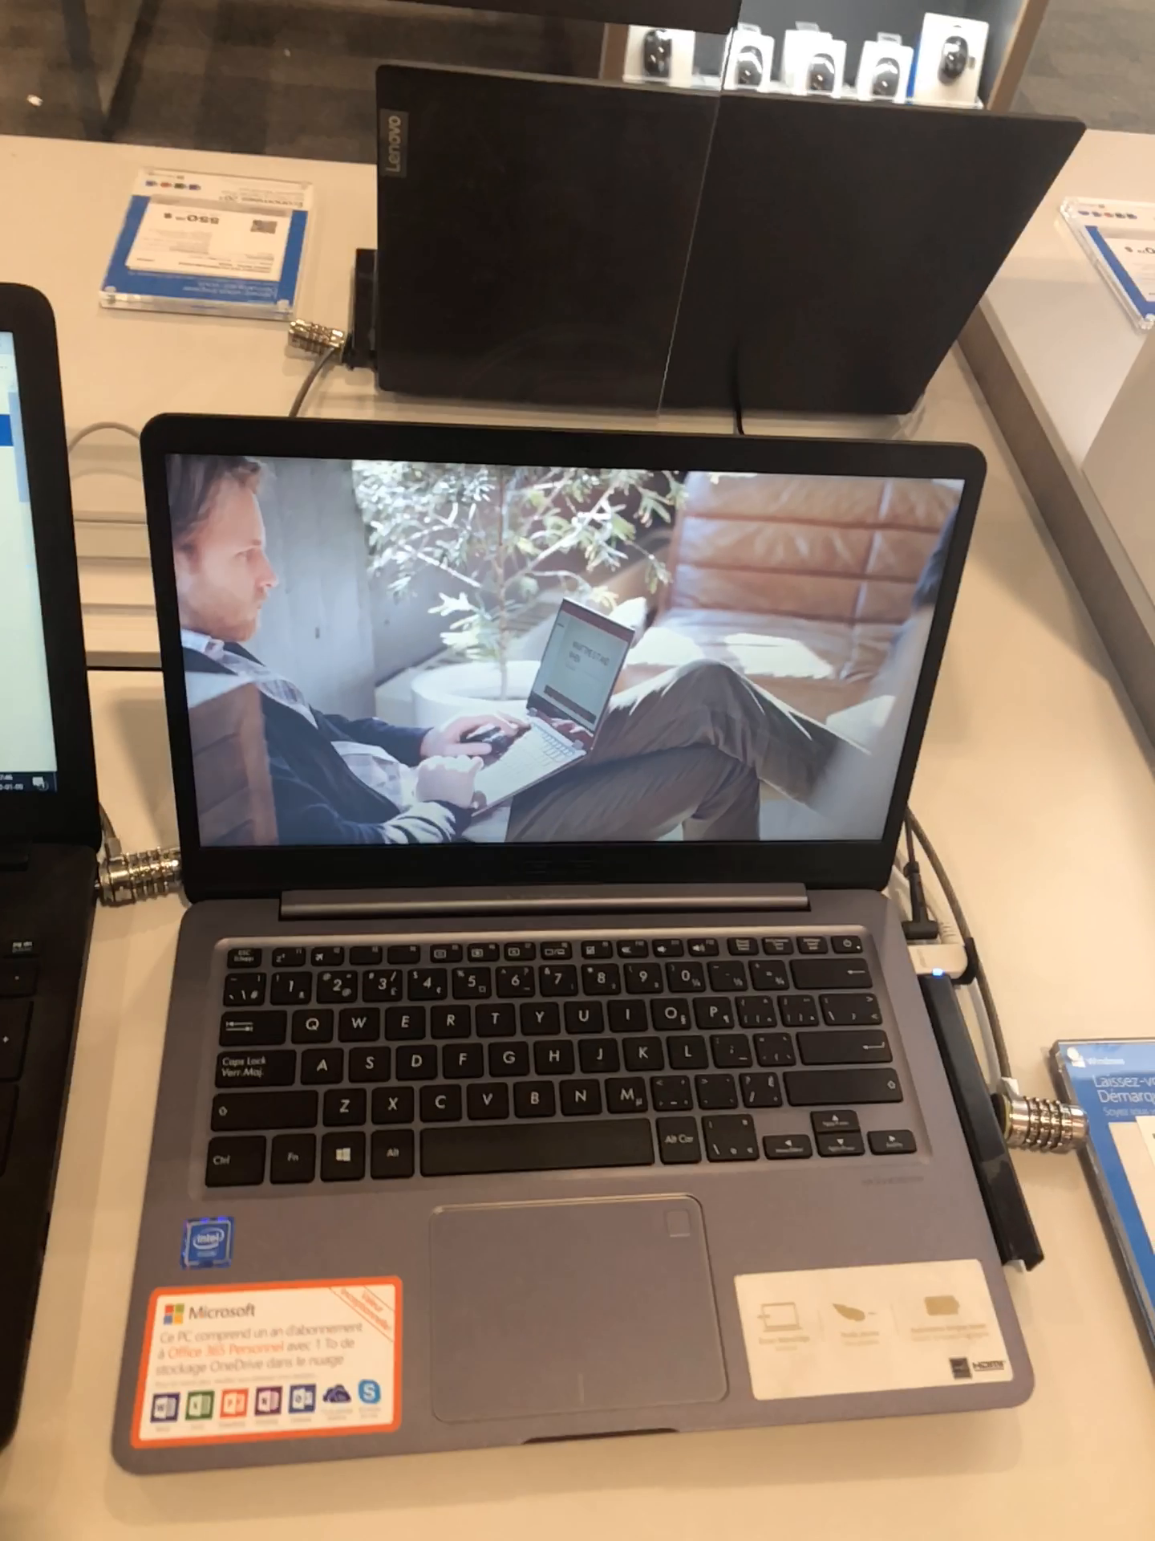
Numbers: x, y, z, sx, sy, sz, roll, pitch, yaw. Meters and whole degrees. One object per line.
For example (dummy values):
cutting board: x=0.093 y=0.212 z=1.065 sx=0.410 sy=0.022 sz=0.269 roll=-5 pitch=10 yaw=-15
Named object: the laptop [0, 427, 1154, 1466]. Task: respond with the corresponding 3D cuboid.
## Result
laptop: x=0.006 y=0.051 z=0.458 sx=0.316 sy=0.196 sz=0.292 roll=0 pitch=50 yaw=-8
